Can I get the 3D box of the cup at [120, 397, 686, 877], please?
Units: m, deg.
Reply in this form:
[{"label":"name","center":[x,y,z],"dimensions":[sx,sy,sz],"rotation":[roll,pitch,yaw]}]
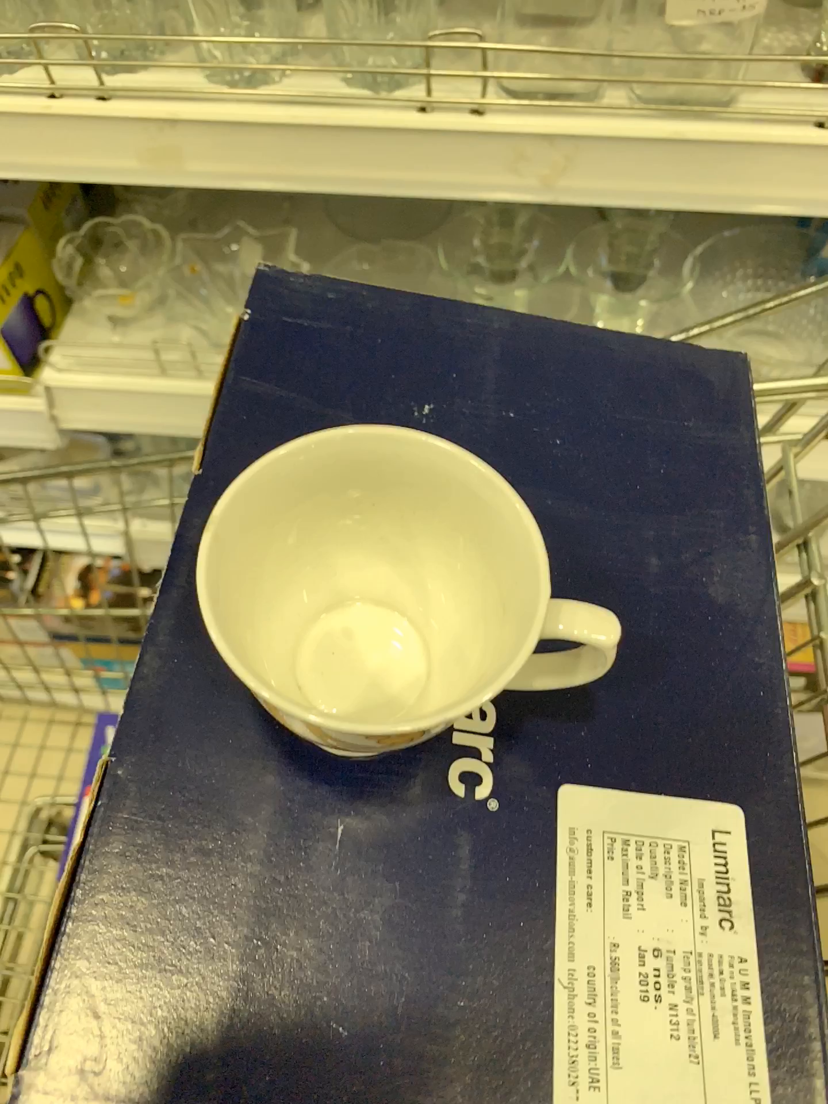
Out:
[{"label":"cup","center":[0.002,0.016,0.170],"dimensions":[0.090,0.040,0.070],"rotation":[10,60,2]}]
